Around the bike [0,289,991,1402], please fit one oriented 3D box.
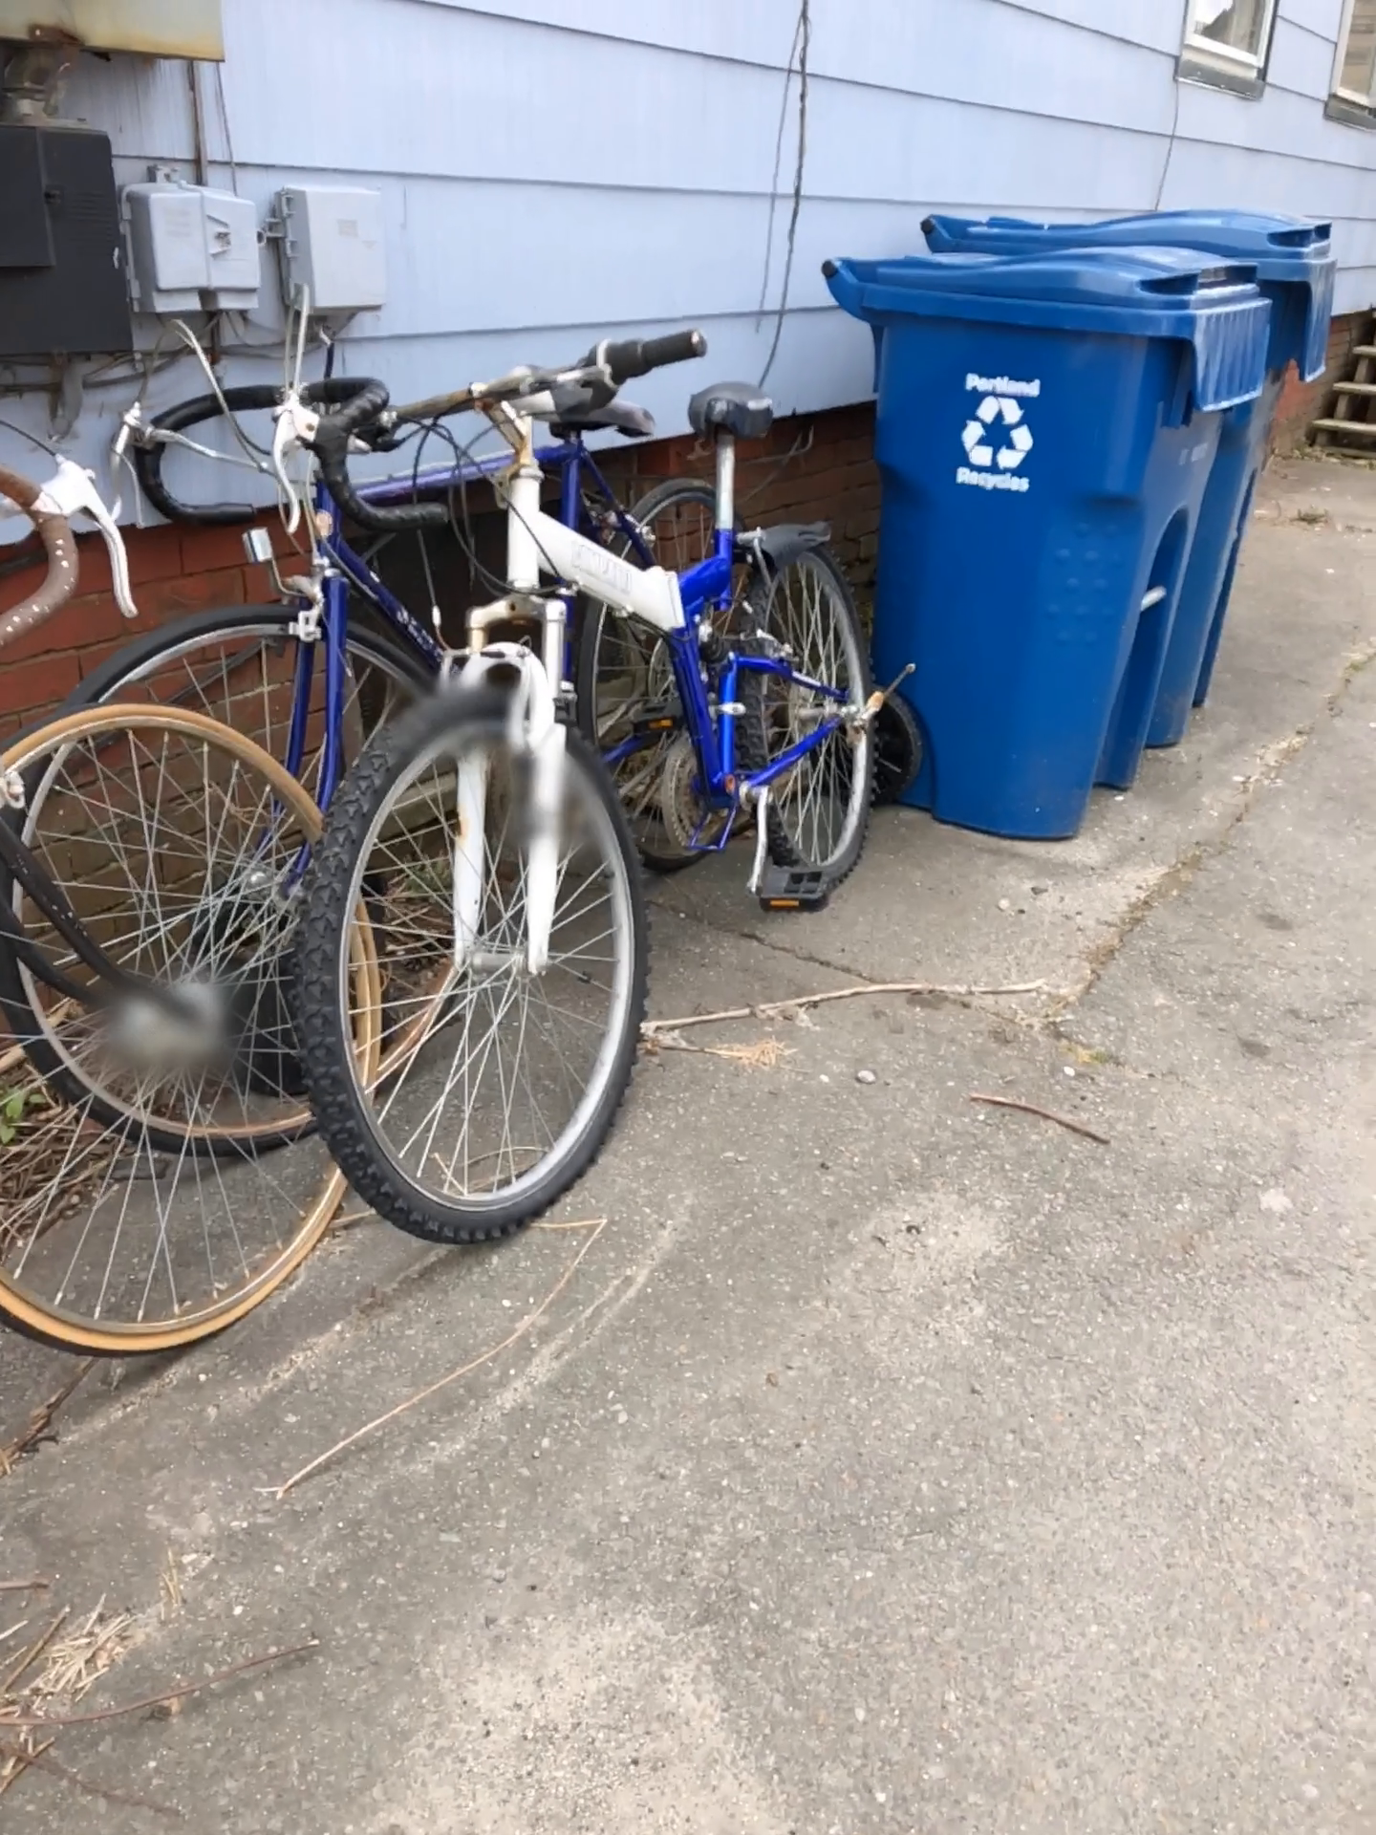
[{"bbox_3d":[-0.095,-0.330,2.286,0.562,0.979,1.739,13,30,21],"label":"bike"}]
